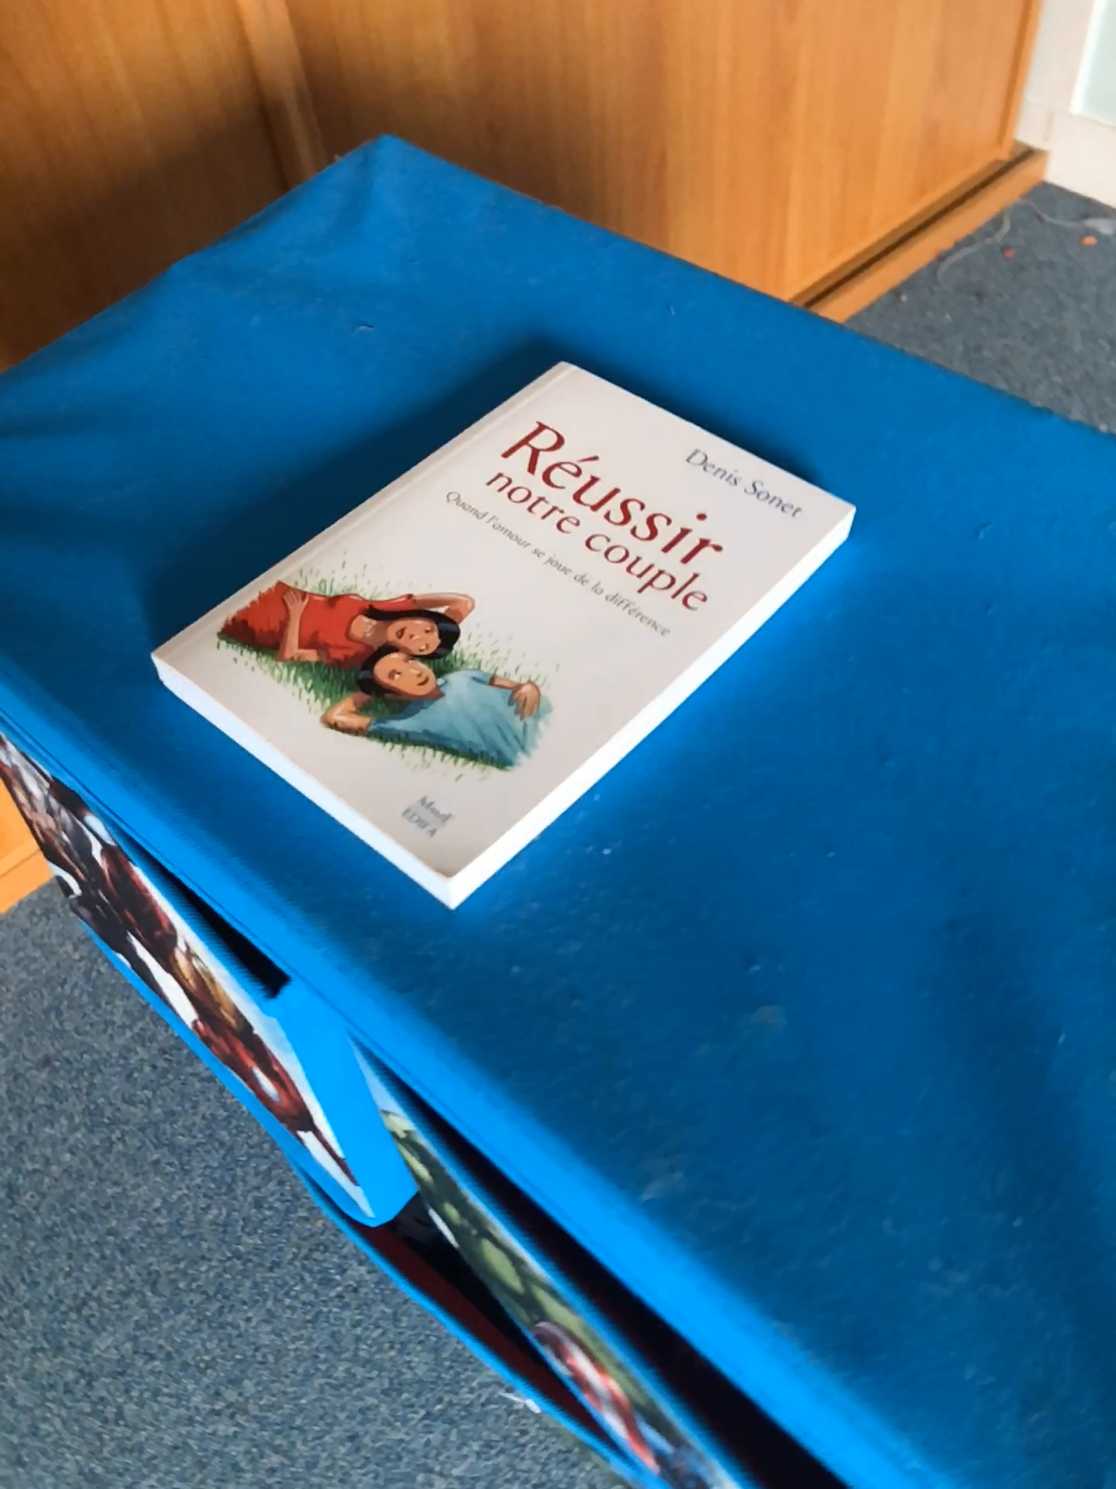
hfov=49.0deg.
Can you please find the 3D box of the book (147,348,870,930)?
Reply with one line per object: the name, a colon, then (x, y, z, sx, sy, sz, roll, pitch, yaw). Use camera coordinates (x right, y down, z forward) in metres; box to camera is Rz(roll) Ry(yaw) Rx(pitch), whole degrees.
book: (-0.012, -0.048, 0.386, 0.134, 0.016, 0.186, 34, 63, 25)
